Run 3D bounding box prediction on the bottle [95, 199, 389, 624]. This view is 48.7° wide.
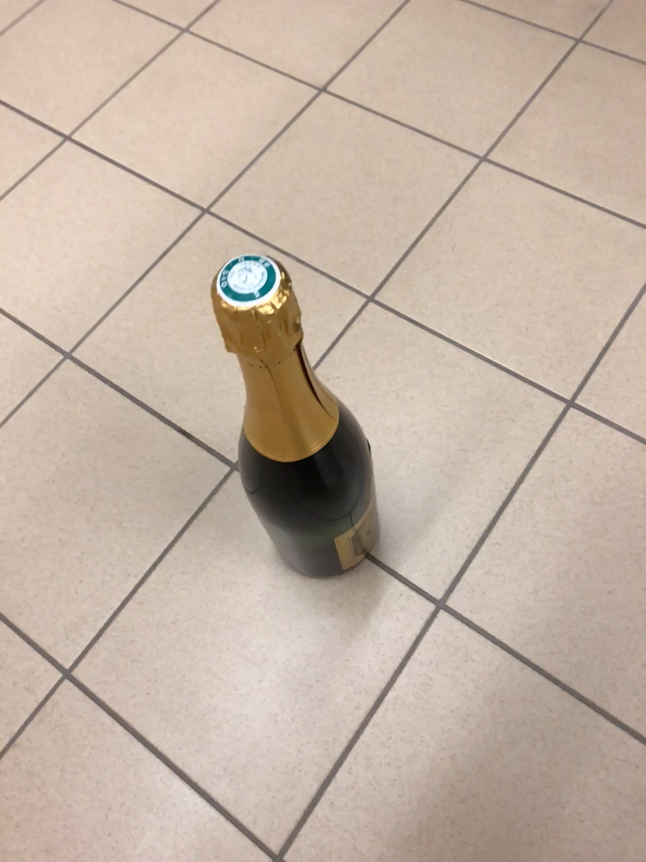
[{"bbox_3d":[-0.021,0.024,0.410,0.100,0.309,0.100,-2,64,5],"label":"bottle"}]
